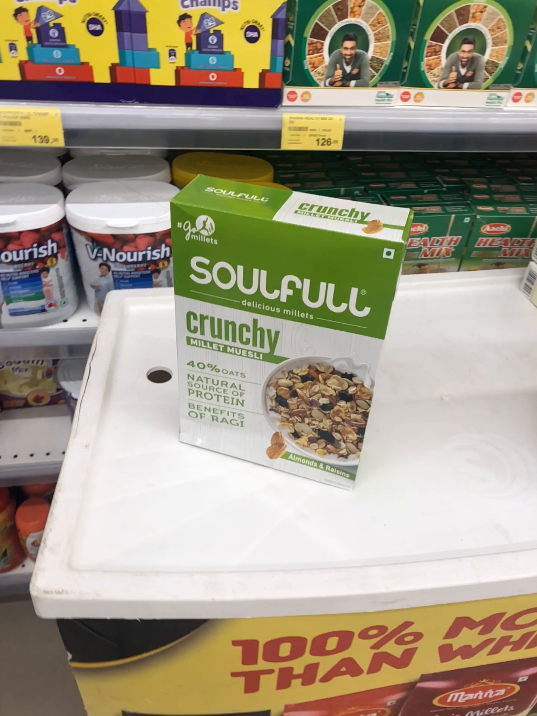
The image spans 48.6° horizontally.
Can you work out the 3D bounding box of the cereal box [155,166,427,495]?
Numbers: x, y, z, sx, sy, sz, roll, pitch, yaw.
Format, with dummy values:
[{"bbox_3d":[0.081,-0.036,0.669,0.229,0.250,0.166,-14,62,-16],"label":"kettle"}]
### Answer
[{"bbox_3d":[0.015,-0.015,0.501,0.180,0.249,0.070,13,41,14],"label":"cereal box"}]
